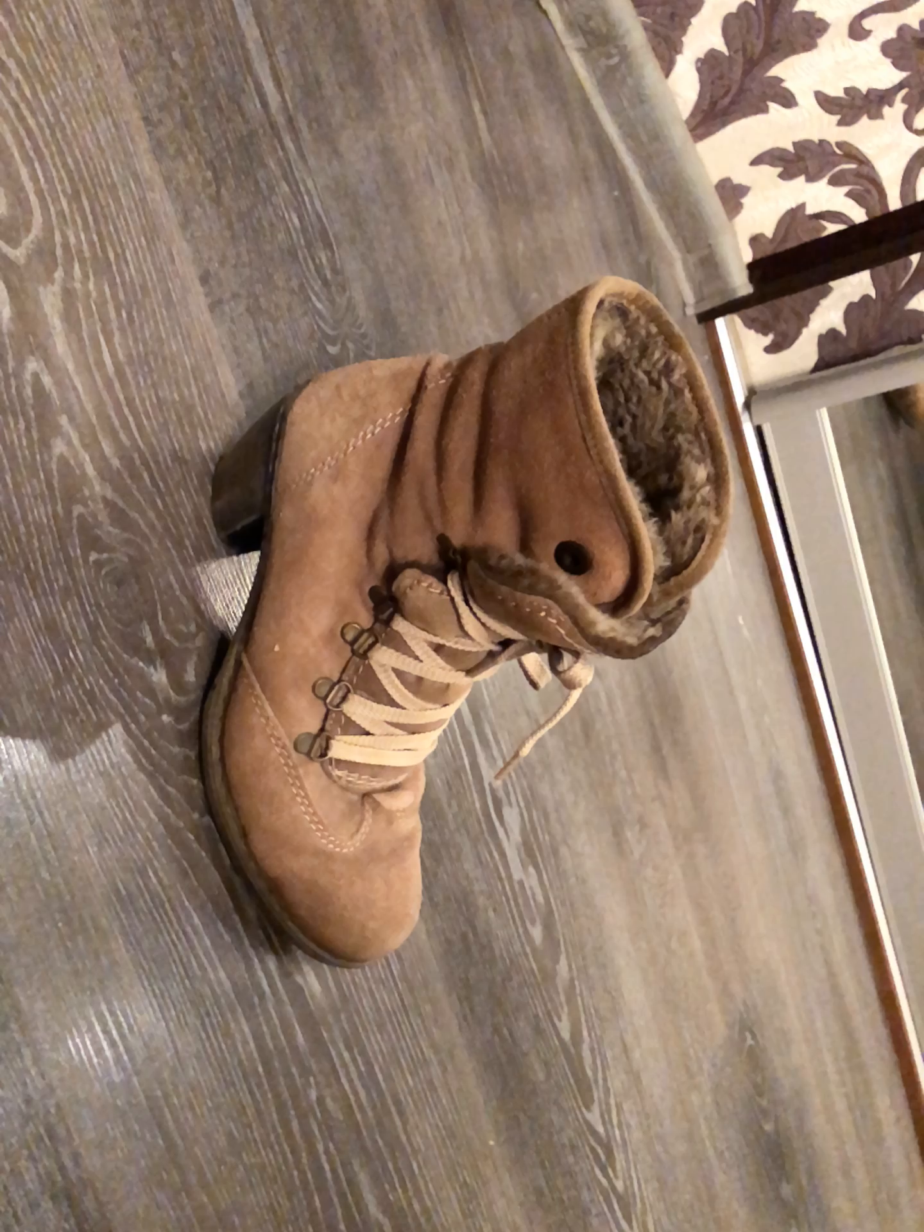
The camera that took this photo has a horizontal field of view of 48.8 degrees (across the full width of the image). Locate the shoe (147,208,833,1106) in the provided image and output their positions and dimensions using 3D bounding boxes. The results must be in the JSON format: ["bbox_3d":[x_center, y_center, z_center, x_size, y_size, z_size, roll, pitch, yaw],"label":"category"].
[{"bbox_3d":[0.003,0.020,0.366,0.101,0.189,0.240,-5,85,-54],"label":"shoe"}]
